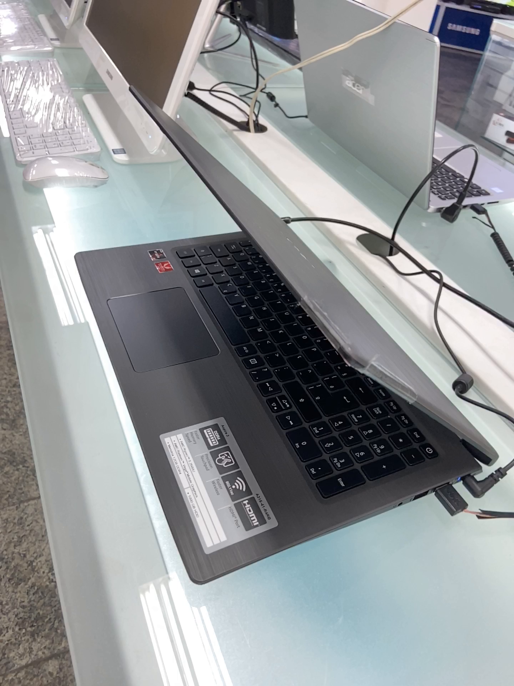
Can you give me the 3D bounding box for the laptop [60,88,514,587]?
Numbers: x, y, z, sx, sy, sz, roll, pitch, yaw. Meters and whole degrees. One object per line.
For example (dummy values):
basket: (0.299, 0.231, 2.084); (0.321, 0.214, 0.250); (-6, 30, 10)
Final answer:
laptop: (0.004, -0.054, 0.402); (0.220, 0.155, 0.344); (-13, 45, -23)
